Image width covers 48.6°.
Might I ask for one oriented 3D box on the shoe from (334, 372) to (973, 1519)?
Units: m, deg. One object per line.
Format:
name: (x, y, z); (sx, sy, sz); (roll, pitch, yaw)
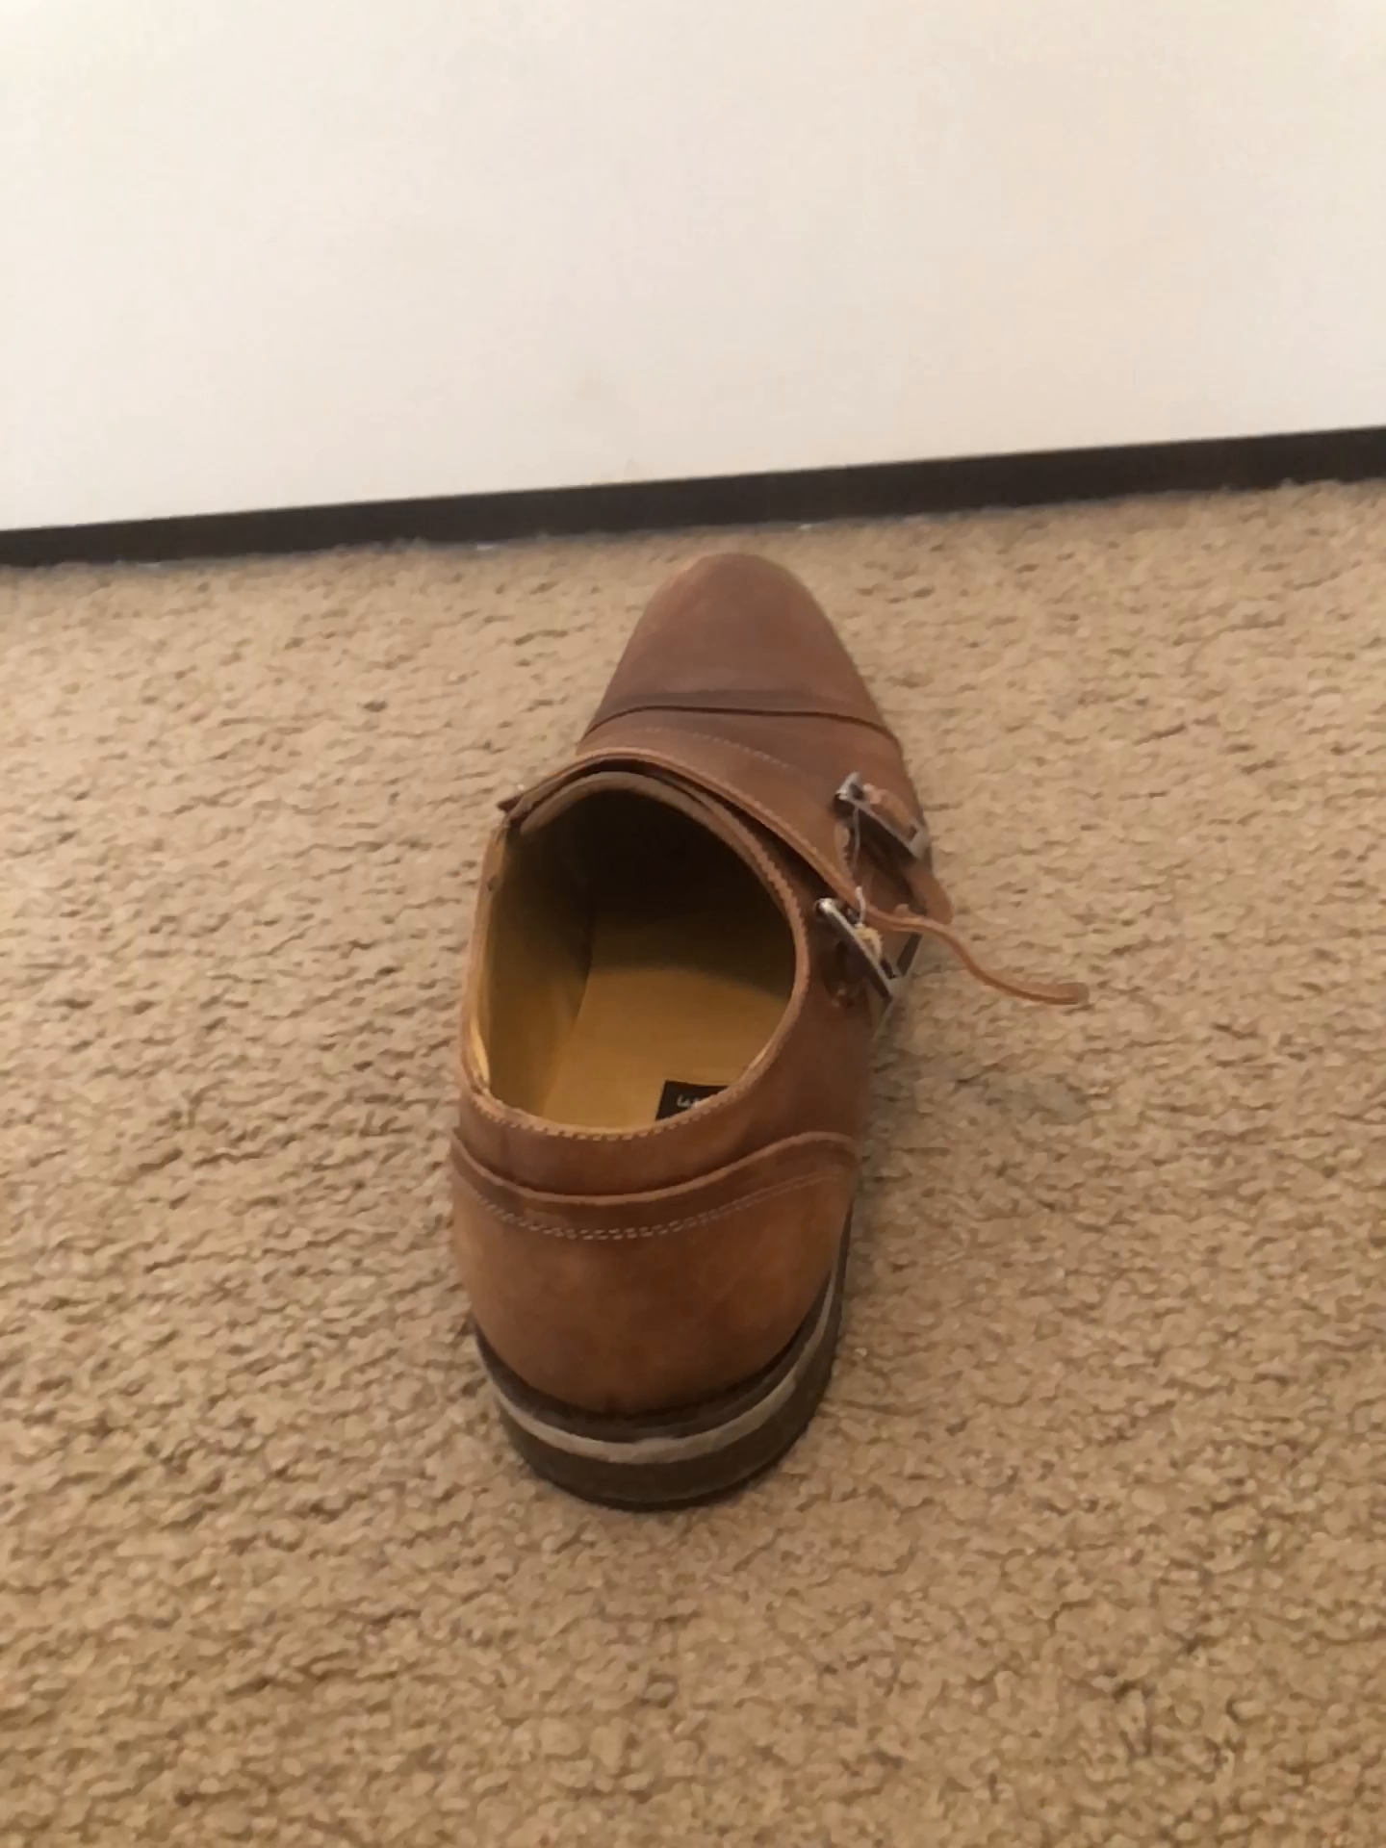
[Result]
shoe: (0.010, -0.019, 0.376); (0.099, 0.107, 0.287); (-2, 43, 8)
